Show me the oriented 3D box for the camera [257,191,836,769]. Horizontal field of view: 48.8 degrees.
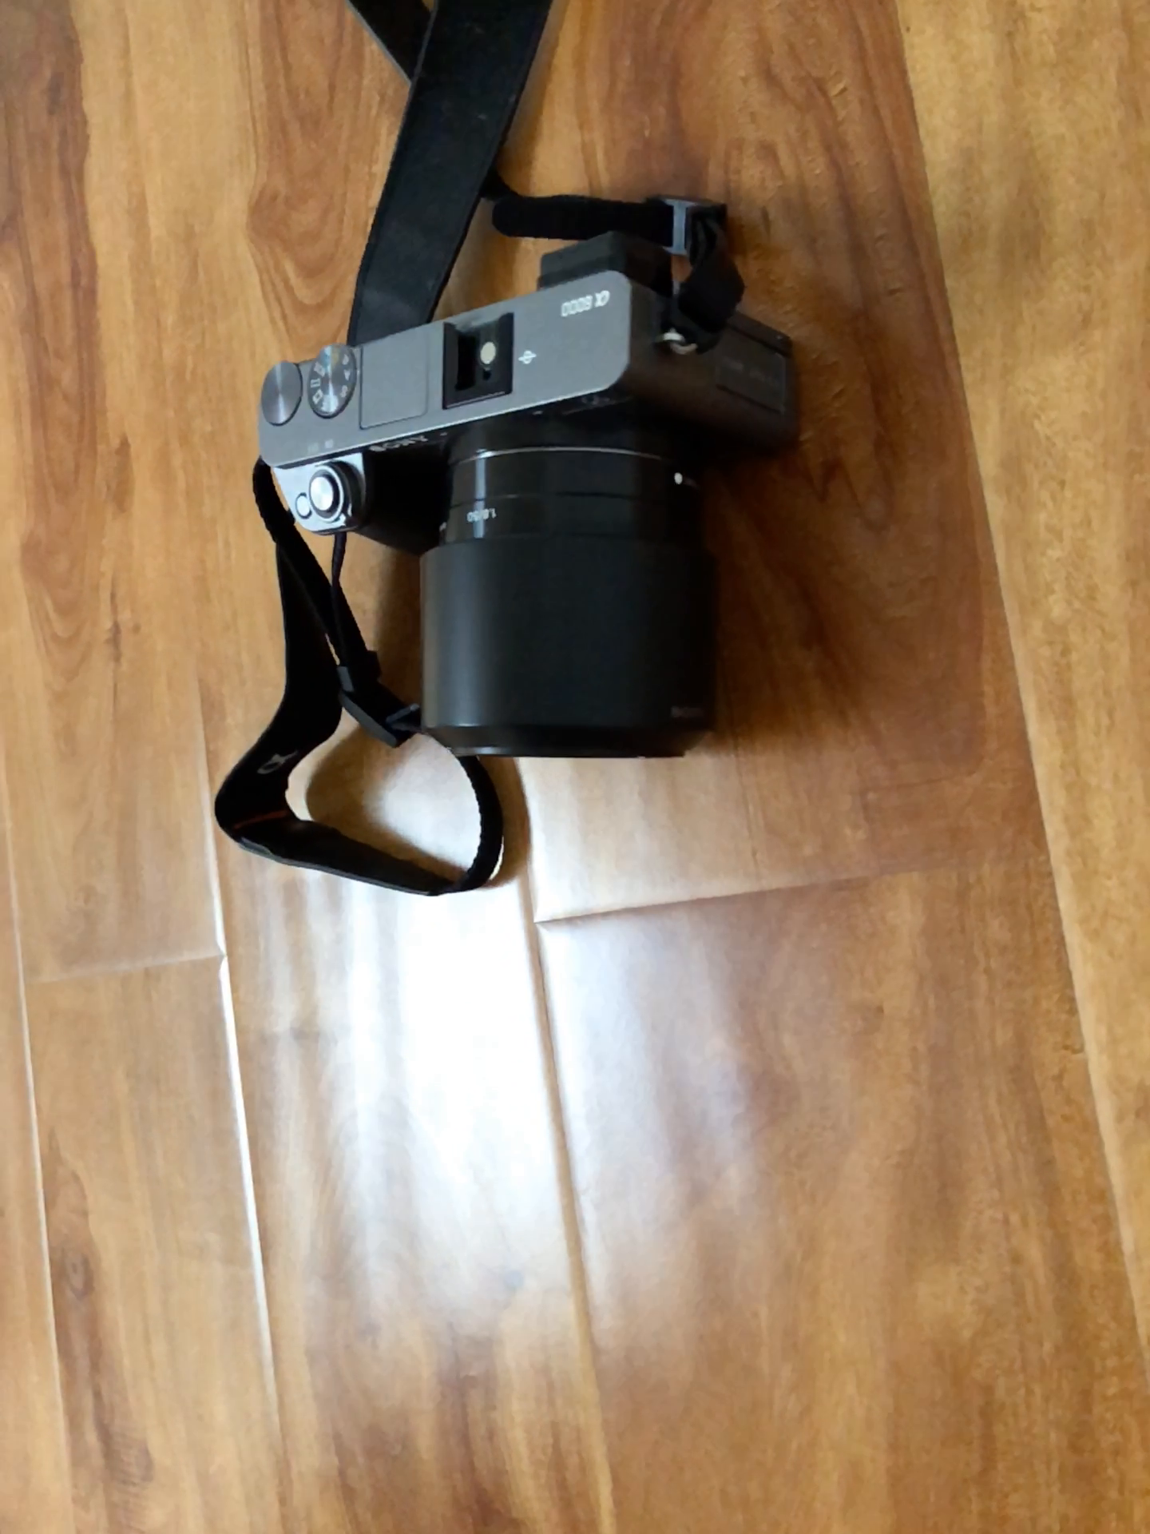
[{"bbox_3d":[-0.011,-0.056,0.316,0.131,0.070,0.110,-2,88,40],"label":"camera"}]
